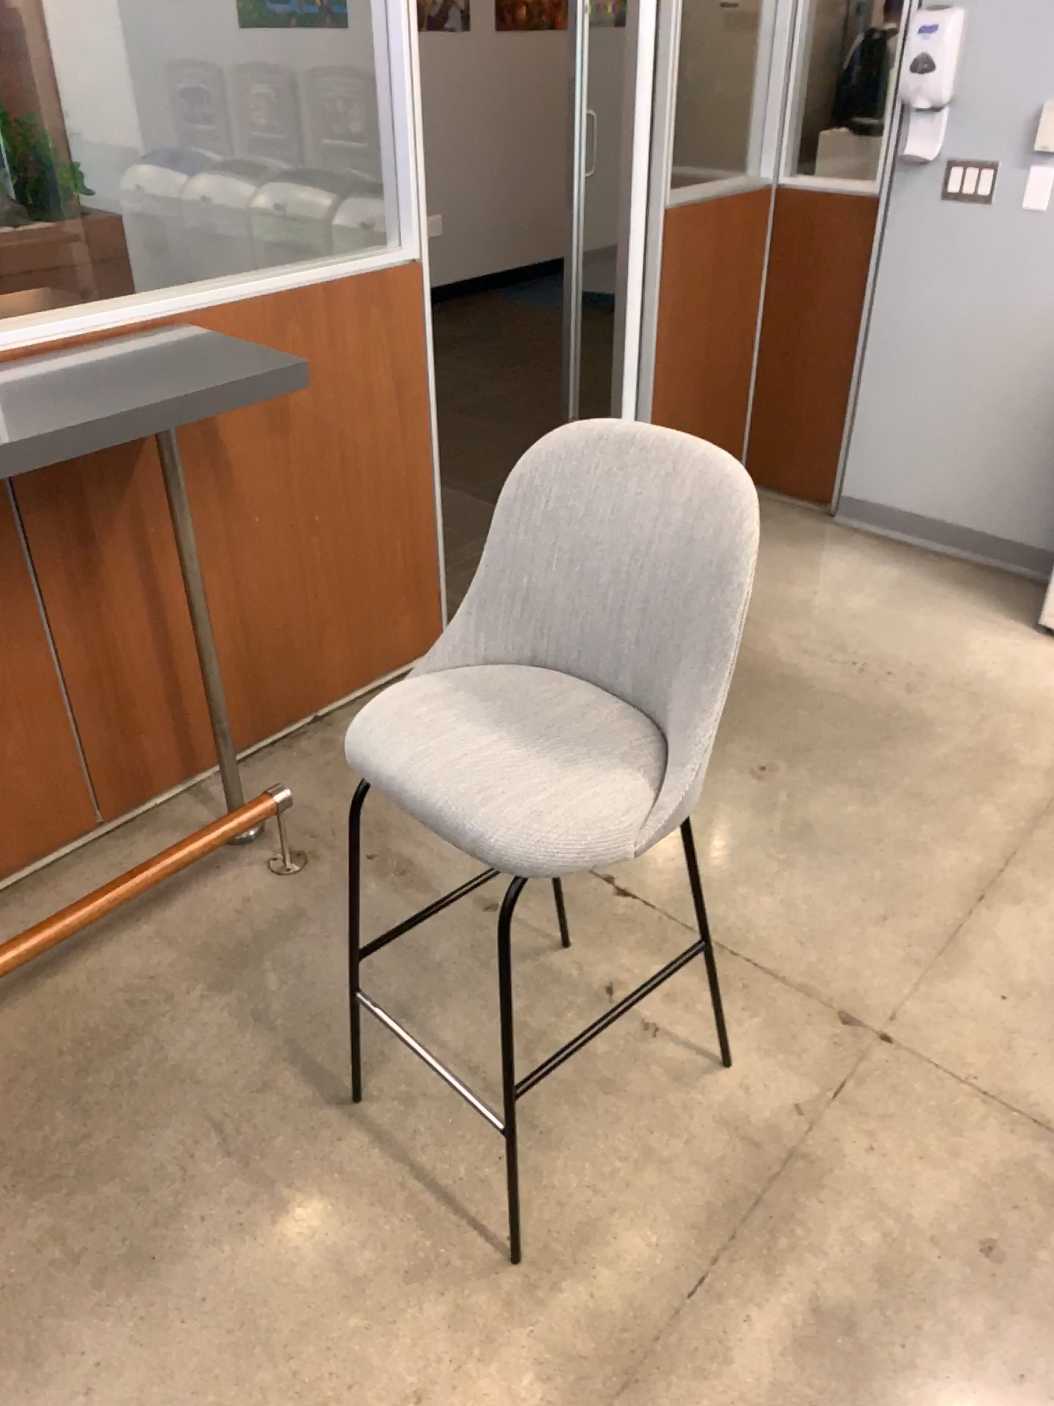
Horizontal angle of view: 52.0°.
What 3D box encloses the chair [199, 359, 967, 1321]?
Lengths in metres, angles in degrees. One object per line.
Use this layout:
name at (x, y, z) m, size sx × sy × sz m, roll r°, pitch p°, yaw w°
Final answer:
chair at (0.094, 0.156, 1.678) m, size 0.592 × 1.094 × 0.811 m, roll 28°, pitch 42°, yaw 36°
